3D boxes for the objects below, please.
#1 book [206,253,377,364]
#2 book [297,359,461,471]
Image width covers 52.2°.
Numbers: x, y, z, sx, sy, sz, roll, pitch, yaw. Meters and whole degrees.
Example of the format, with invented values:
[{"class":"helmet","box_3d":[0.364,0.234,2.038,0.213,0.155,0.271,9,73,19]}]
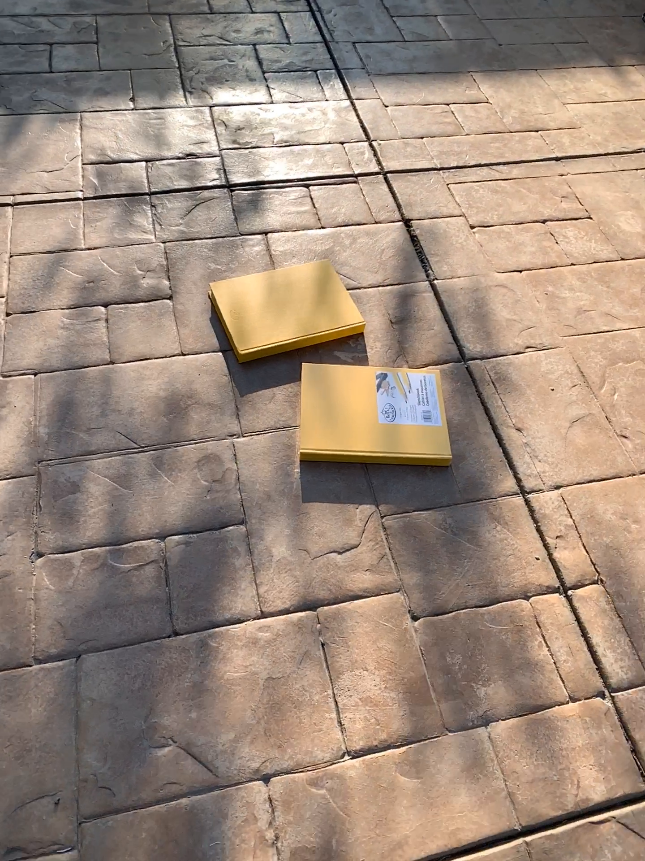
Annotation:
[{"class":"book","box_3d":[-0.071,-0.276,1.445,0.310,0.030,0.231,-17,58,-18]},{"class":"book","box_3d":[0.104,-0.034,1.281,0.300,0.030,0.231,3,54,-4]}]
